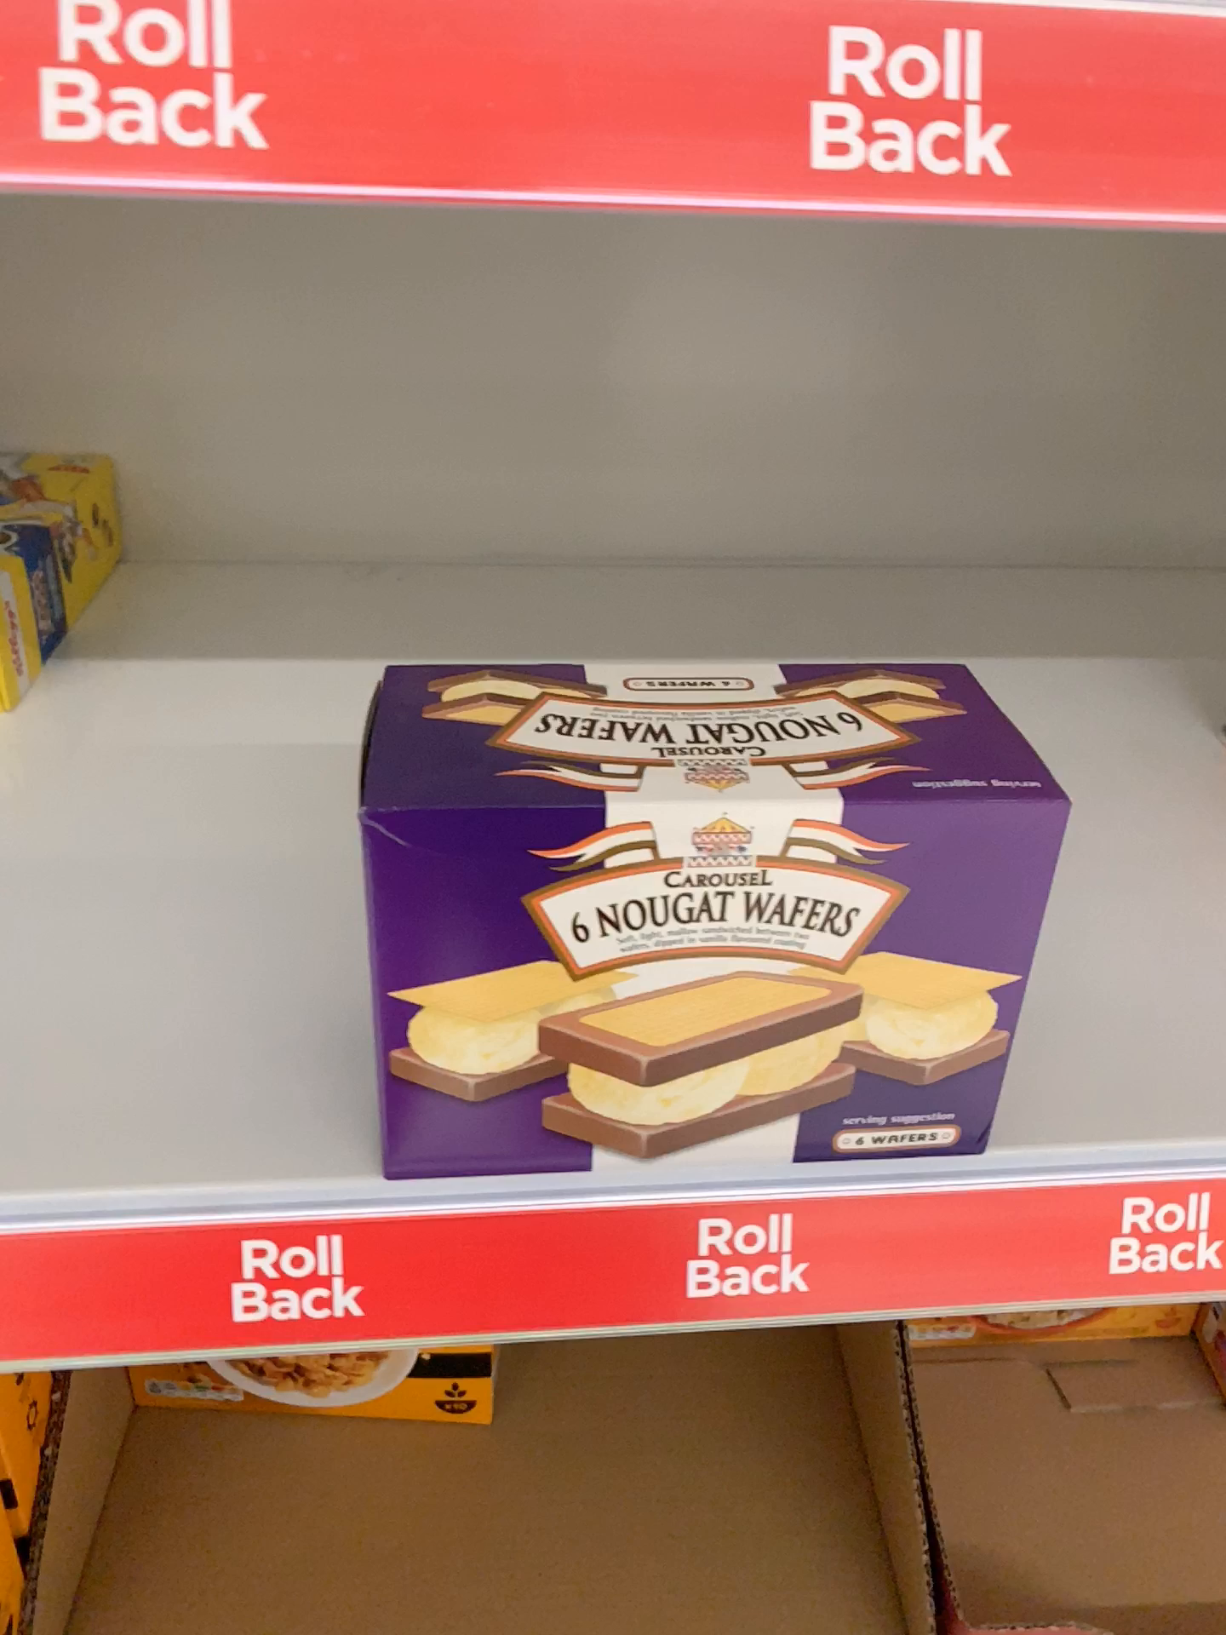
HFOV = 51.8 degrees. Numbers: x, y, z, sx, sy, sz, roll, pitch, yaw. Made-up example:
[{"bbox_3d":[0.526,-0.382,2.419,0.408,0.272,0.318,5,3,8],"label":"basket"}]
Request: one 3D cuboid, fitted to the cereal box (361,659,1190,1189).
[{"bbox_3d":[0.033,0.025,0.350,0.190,0.109,0.091,-1,30,-6],"label":"cereal box"}]
